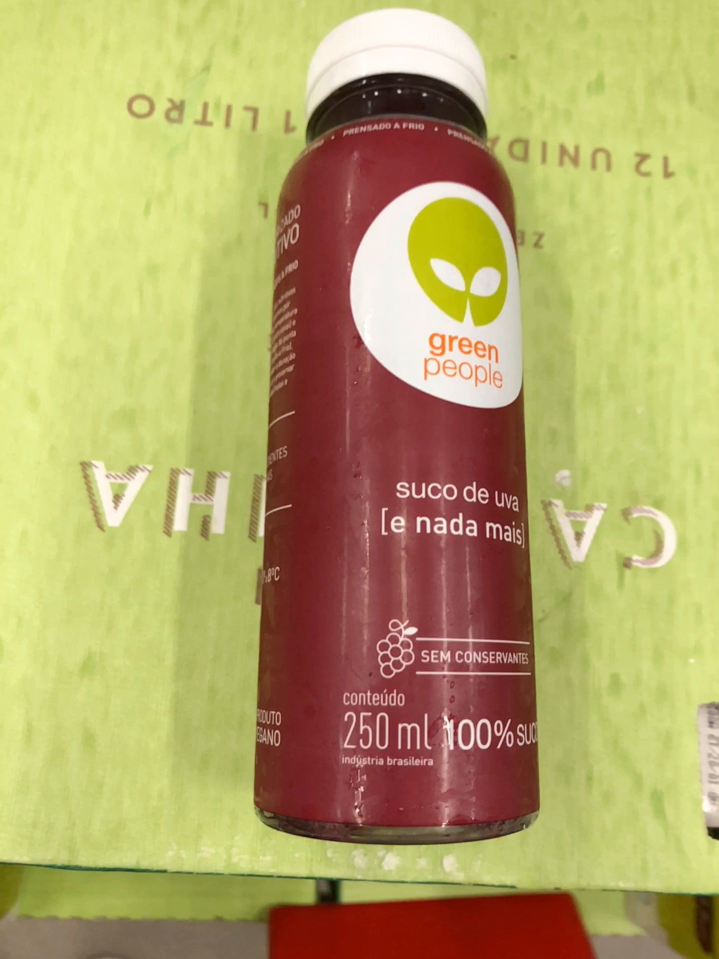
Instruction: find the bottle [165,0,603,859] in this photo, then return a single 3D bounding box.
[{"bbox_3d":[0.004,-0.022,0.170,0.060,0.060,0.170,8,76,-28],"label":"bottle"}]
